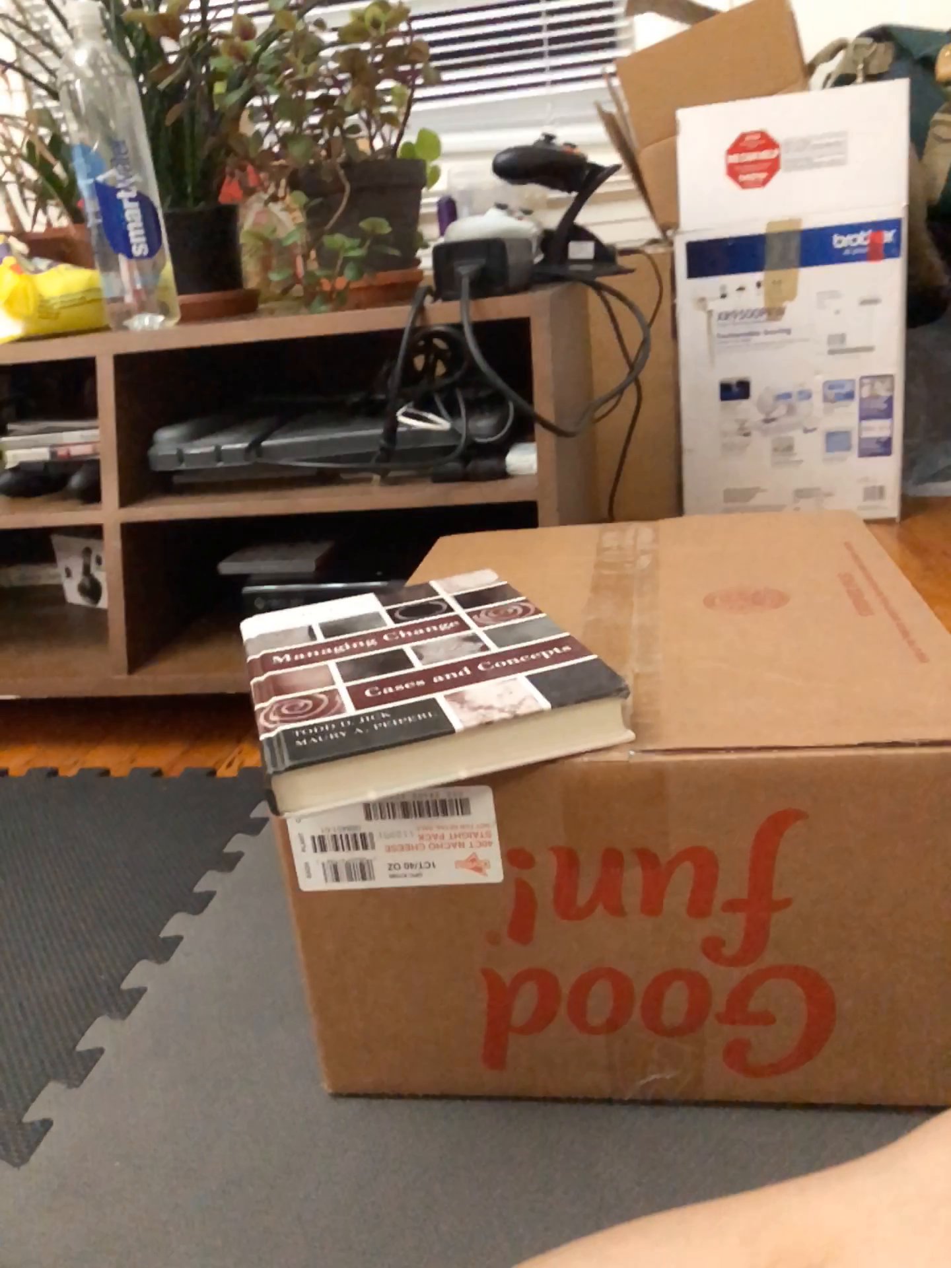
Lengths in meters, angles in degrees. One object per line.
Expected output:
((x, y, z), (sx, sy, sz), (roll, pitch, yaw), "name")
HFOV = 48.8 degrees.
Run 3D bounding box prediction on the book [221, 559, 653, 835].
((-0.040, 0.017, 0.570), (0.180, 0.030, 0.251), (-11, 20, -13), "book")
